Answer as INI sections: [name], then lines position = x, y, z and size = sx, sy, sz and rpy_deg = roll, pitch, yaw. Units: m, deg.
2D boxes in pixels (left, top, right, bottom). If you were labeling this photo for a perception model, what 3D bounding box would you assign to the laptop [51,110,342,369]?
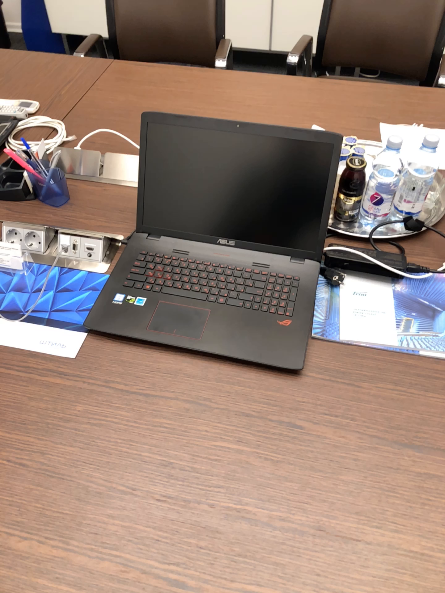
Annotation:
[laptop]
position = -0.015, -0.120, 0.854
size = 0.379, 0.194, 0.370
rpy_deg = 10, 51, 10
